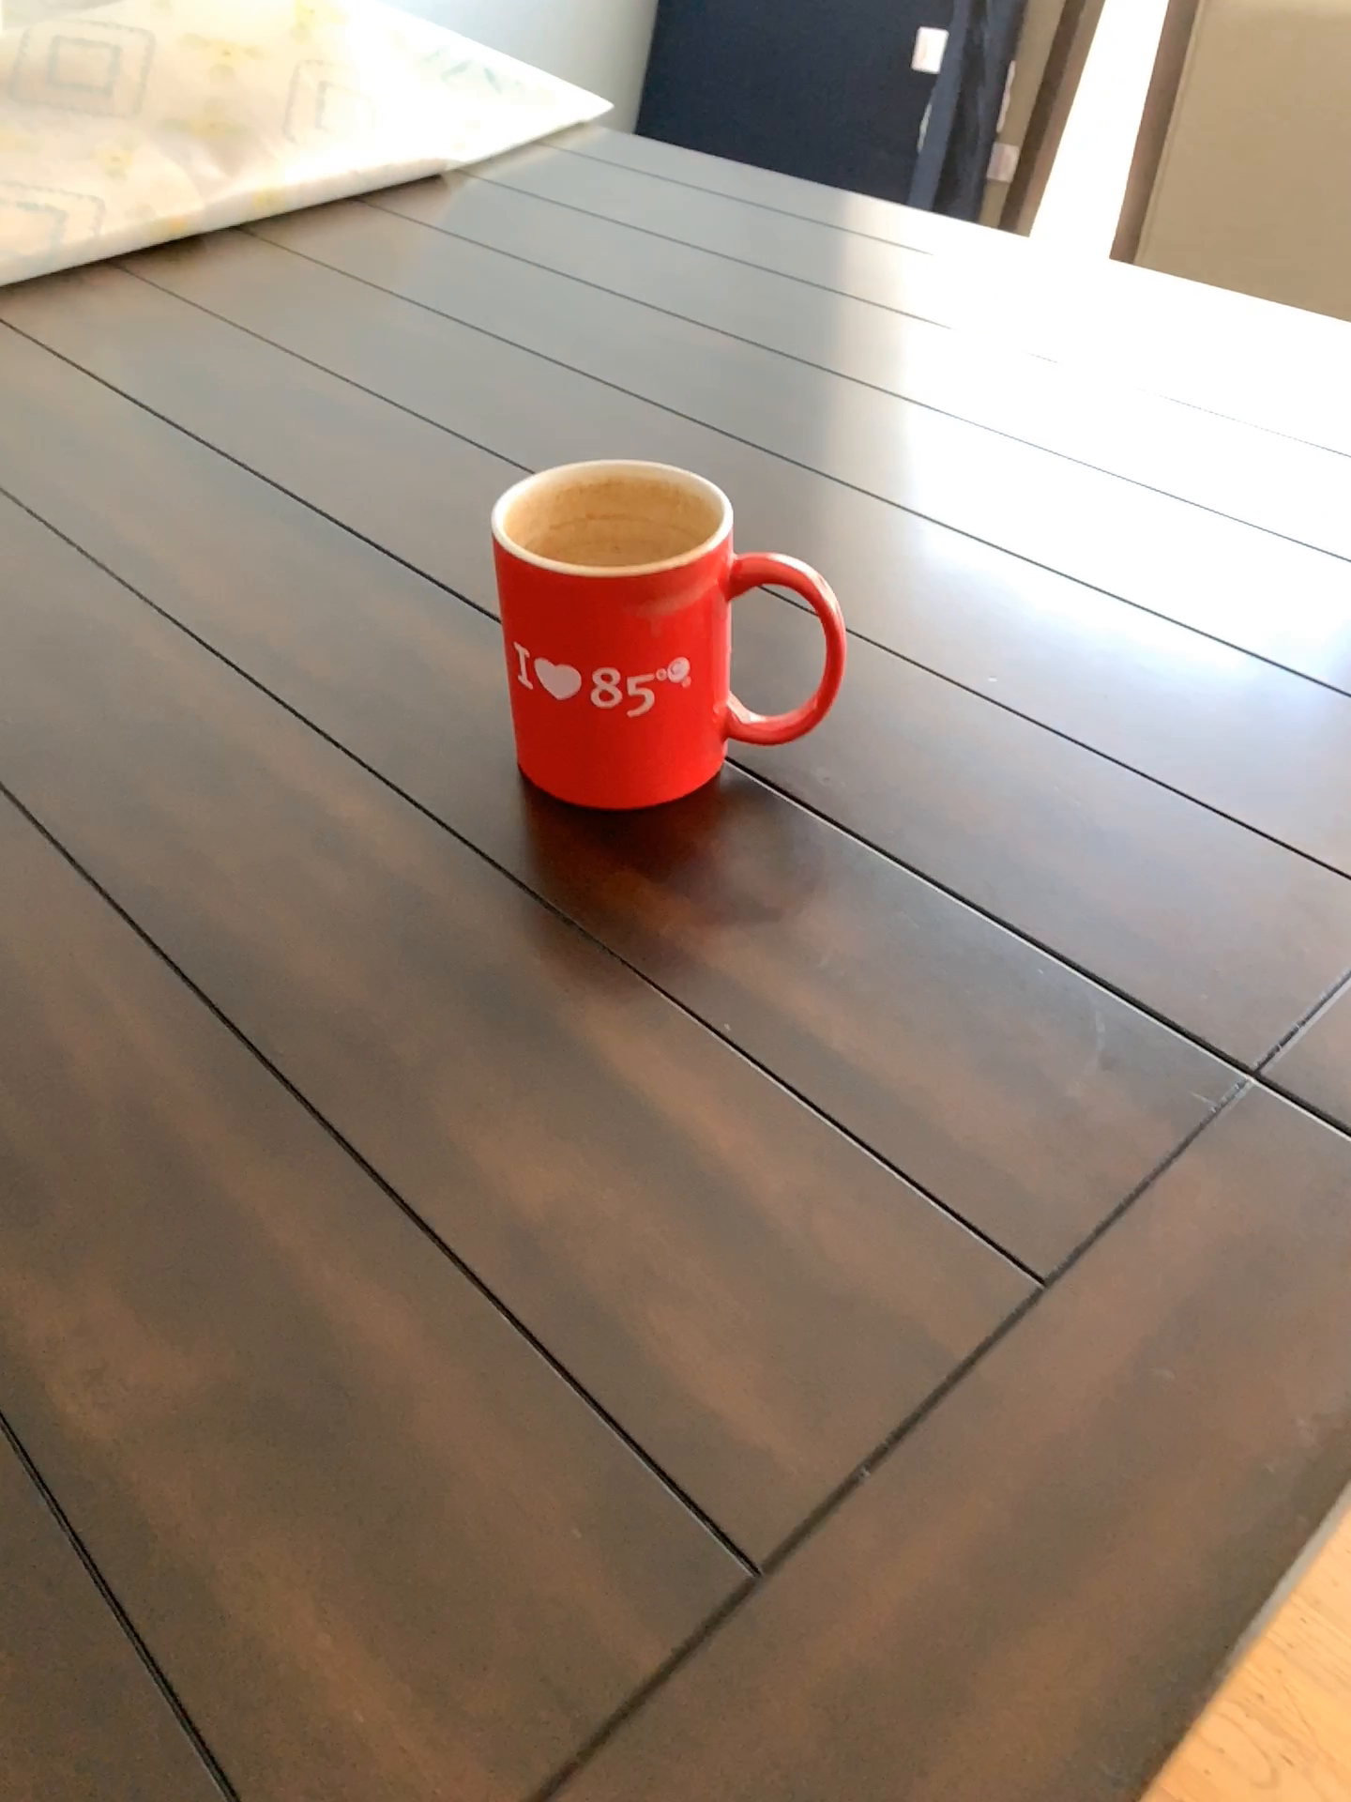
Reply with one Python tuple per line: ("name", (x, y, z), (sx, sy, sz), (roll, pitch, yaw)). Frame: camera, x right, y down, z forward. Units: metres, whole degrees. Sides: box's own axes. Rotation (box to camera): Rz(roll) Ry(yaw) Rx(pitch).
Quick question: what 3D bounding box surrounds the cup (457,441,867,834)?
("cup", (-0.002, -0.089, 0.468), (0.120, 0.099, 0.080), (2, 41, 3))
